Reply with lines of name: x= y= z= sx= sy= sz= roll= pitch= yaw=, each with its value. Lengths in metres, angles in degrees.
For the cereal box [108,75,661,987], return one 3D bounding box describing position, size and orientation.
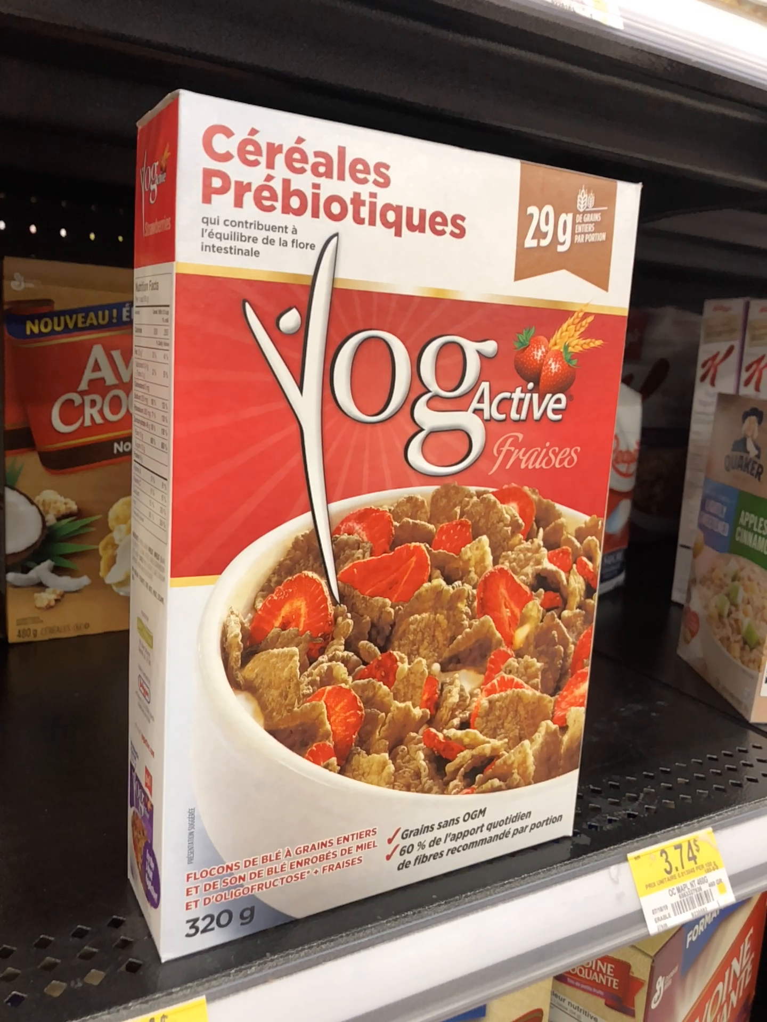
cereal box: x=0.002 y=0.011 z=0.335 sx=0.200 sy=0.289 sz=0.050 roll=-2 pitch=12 yaw=-31
